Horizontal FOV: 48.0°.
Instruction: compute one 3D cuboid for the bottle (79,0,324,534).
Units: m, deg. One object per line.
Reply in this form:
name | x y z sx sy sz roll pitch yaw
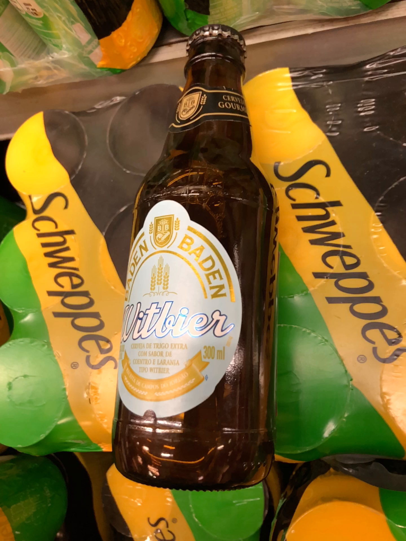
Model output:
bottle | 0.009 -0.024 0.176 0.070 0.060 0.200 0 80 17
